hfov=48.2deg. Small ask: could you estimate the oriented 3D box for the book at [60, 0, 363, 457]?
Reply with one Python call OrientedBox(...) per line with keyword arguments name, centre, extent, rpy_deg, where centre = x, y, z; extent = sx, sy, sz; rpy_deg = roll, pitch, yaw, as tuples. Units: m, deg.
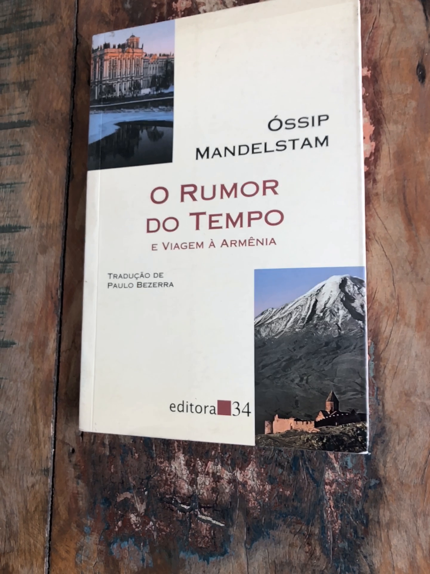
OrientedBox(name="book", centre=(-0.005, -0.034, 0.230), extent=(0.140, 0.022, 0.207), rpy_deg=(-2, 85, 18))
